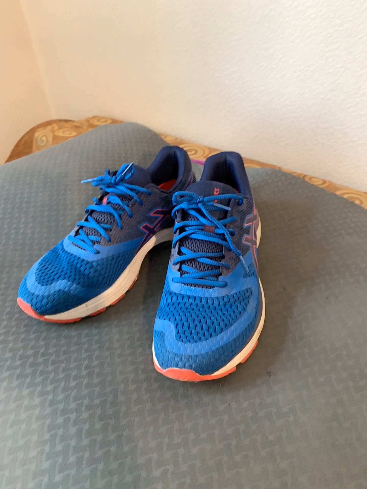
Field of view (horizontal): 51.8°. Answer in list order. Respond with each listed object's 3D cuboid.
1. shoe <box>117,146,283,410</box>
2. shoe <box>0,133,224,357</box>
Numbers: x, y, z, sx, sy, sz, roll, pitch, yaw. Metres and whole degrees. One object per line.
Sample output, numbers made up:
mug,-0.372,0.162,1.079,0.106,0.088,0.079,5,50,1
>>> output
shoe,0.041,0.009,0.442,0.120,0.109,0.301,7,42,11
shoe,-0.078,-0.024,0.493,0.120,0.109,0.301,24,48,27
